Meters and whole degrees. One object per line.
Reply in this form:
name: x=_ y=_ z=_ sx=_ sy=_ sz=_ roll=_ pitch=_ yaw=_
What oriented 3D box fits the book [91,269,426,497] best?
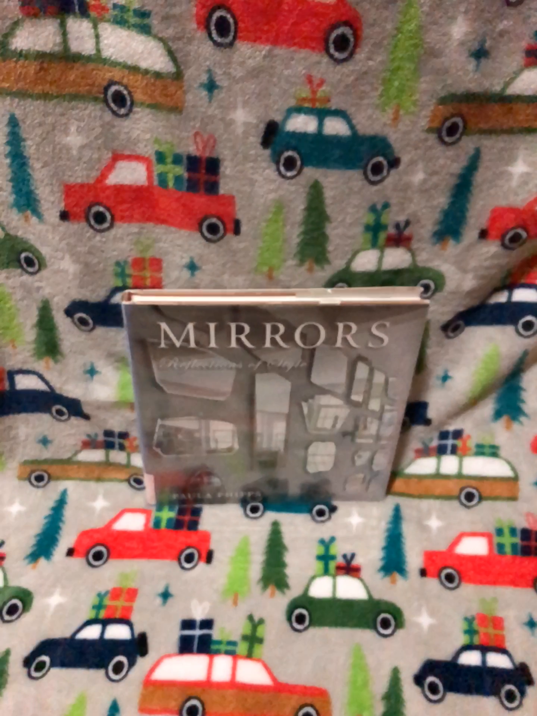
book: x=-0.009 y=0.028 z=0.474 sx=0.223 sy=0.208 sz=0.030 roll=-1 pitch=38 yaw=-4
